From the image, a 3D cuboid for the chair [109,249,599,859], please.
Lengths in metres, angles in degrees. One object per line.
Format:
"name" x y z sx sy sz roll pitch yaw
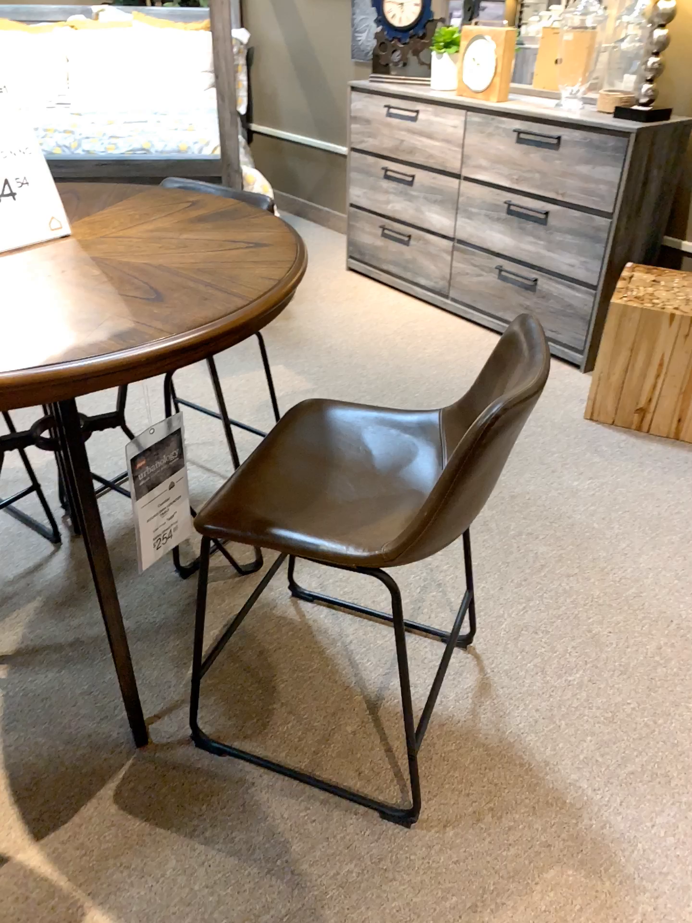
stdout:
"chair" 0.058 0.128 1.307 0.580 0.806 0.603 13 35 17
